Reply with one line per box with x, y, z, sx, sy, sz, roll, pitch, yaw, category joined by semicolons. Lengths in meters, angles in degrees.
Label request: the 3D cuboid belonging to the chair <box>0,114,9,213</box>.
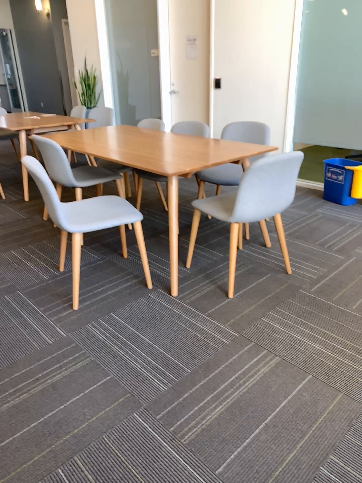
-2.168;-0.798;3.665;0.571;0.796;0.593;-20;30;-36;chair

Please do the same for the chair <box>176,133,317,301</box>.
0.362;-0.189;2.215;0.560;0.776;0.533;-17;28;-31;chair

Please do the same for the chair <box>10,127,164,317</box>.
-0.558;-0.185;2.179;0.630;0.816;0.764;-12;26;-24;chair
